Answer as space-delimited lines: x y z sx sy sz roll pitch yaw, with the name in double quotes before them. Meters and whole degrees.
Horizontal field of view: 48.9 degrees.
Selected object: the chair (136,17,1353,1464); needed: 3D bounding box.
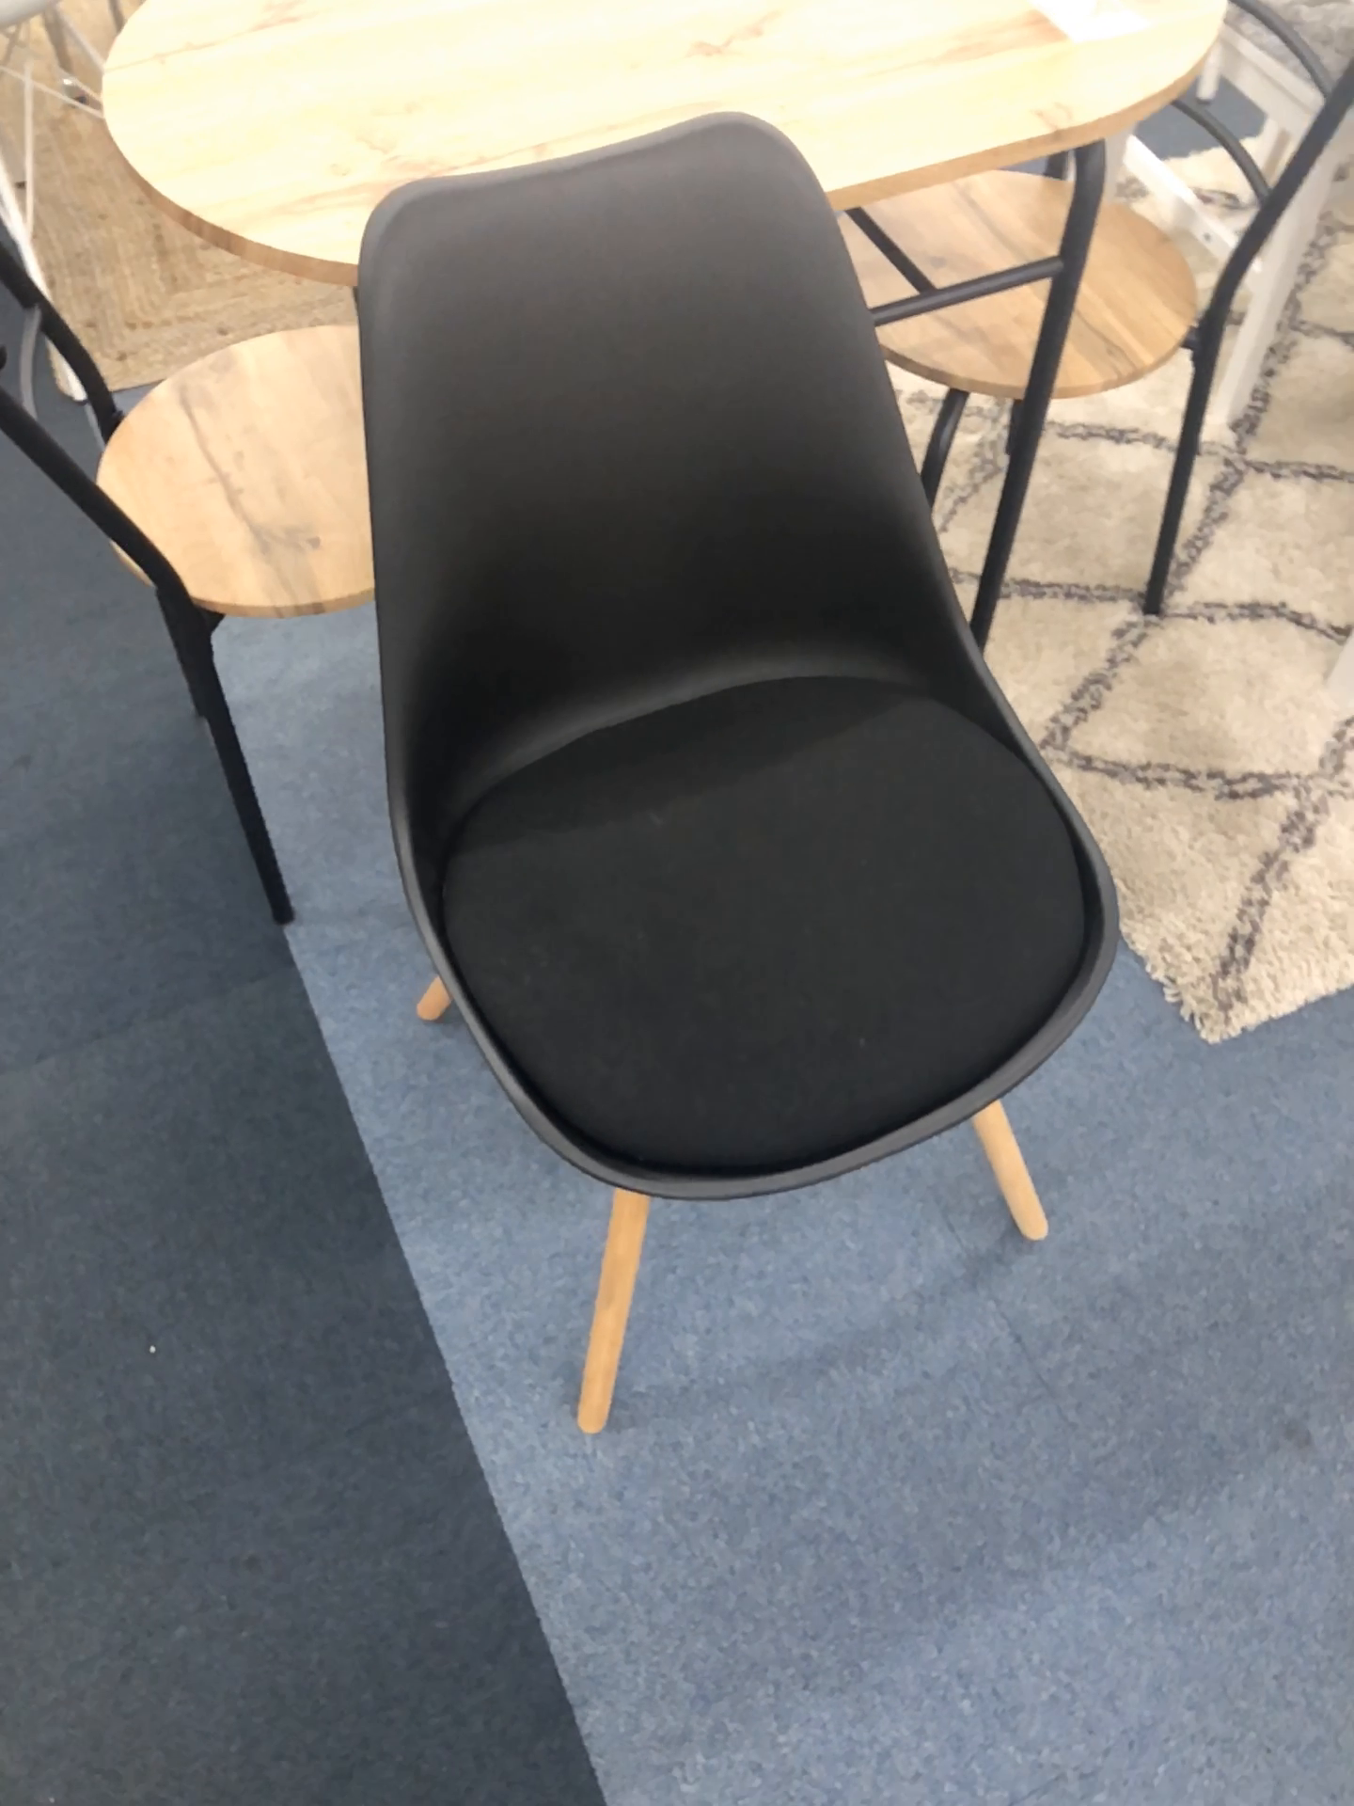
"chair" 0.030 -0.035 1.090 0.490 0.858 0.501 -20 58 -13
